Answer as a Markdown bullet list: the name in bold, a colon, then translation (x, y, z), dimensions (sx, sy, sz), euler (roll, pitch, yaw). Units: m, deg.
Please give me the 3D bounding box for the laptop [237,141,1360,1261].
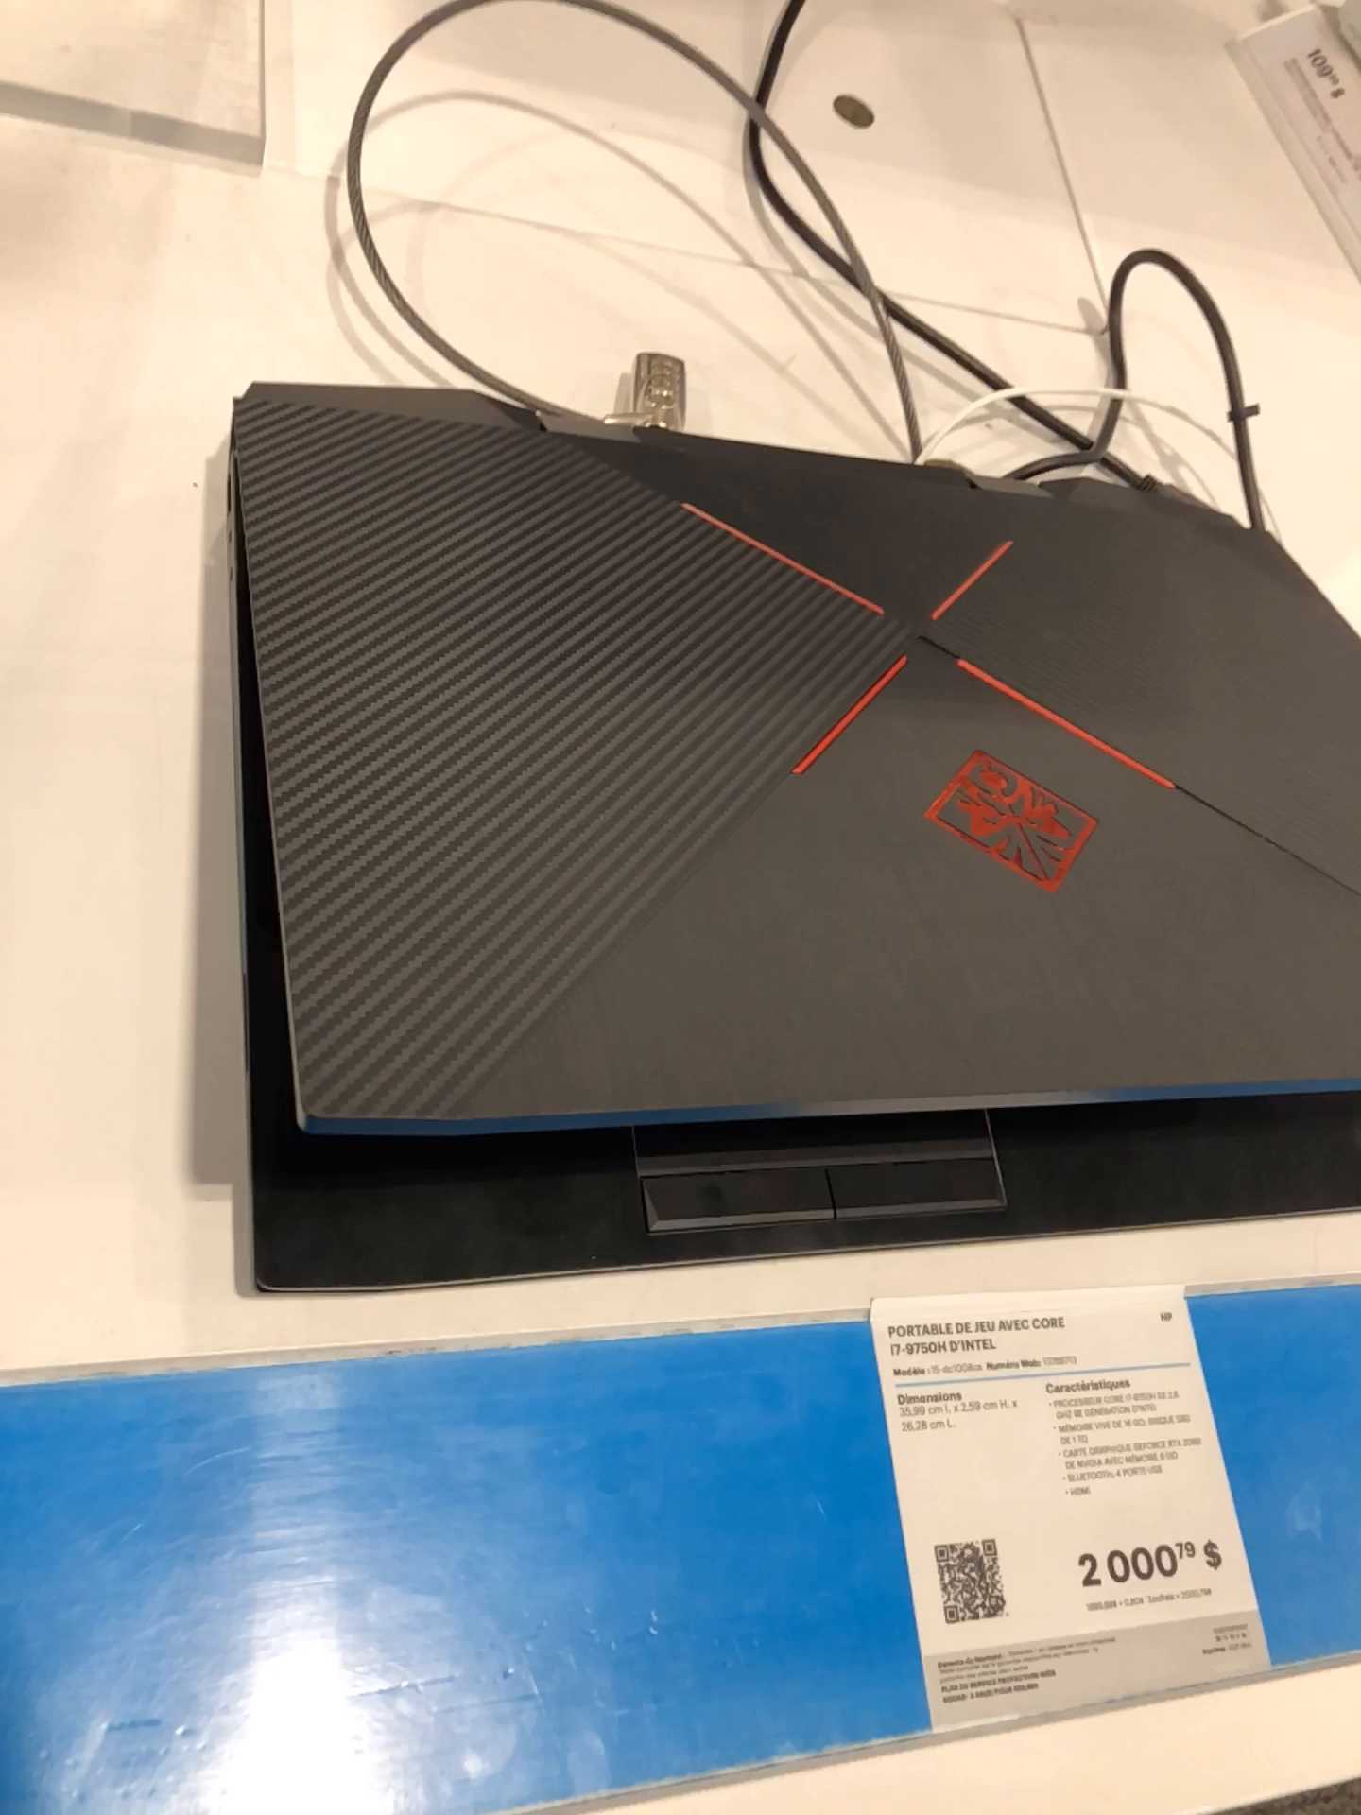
- **laptop**: translation (0.071, -0.044, 0.392), dimensions (0.346, 0.085, 0.235), euler (2, 65, -21)
